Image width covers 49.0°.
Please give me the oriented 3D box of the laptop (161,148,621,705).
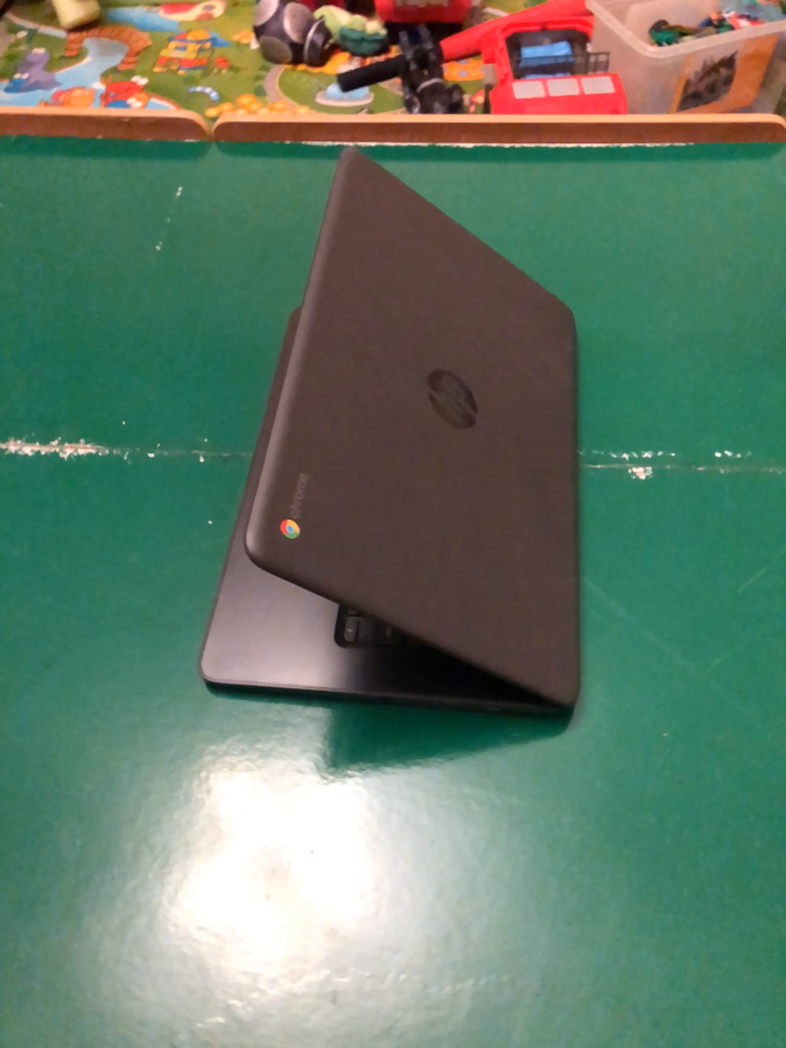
[{"bbox_3d":[0.017,-0.074,0.534,0.208,0.144,0.318,4,55,6],"label":"laptop"}]
